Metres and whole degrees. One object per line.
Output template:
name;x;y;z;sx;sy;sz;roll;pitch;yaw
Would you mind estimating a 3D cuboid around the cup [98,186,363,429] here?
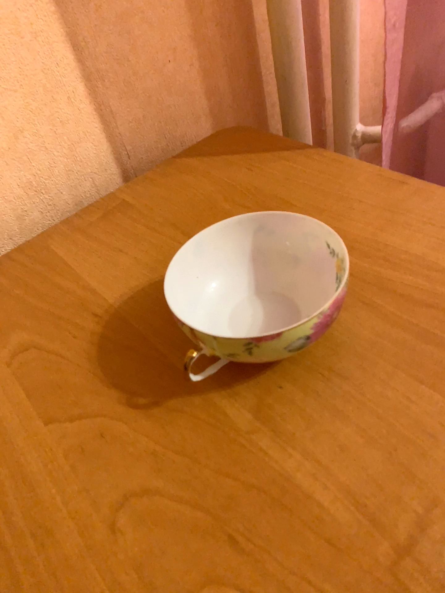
cup;0.007;-0.002;0.247;0.113;0.045;0.079;-37;47;-21
